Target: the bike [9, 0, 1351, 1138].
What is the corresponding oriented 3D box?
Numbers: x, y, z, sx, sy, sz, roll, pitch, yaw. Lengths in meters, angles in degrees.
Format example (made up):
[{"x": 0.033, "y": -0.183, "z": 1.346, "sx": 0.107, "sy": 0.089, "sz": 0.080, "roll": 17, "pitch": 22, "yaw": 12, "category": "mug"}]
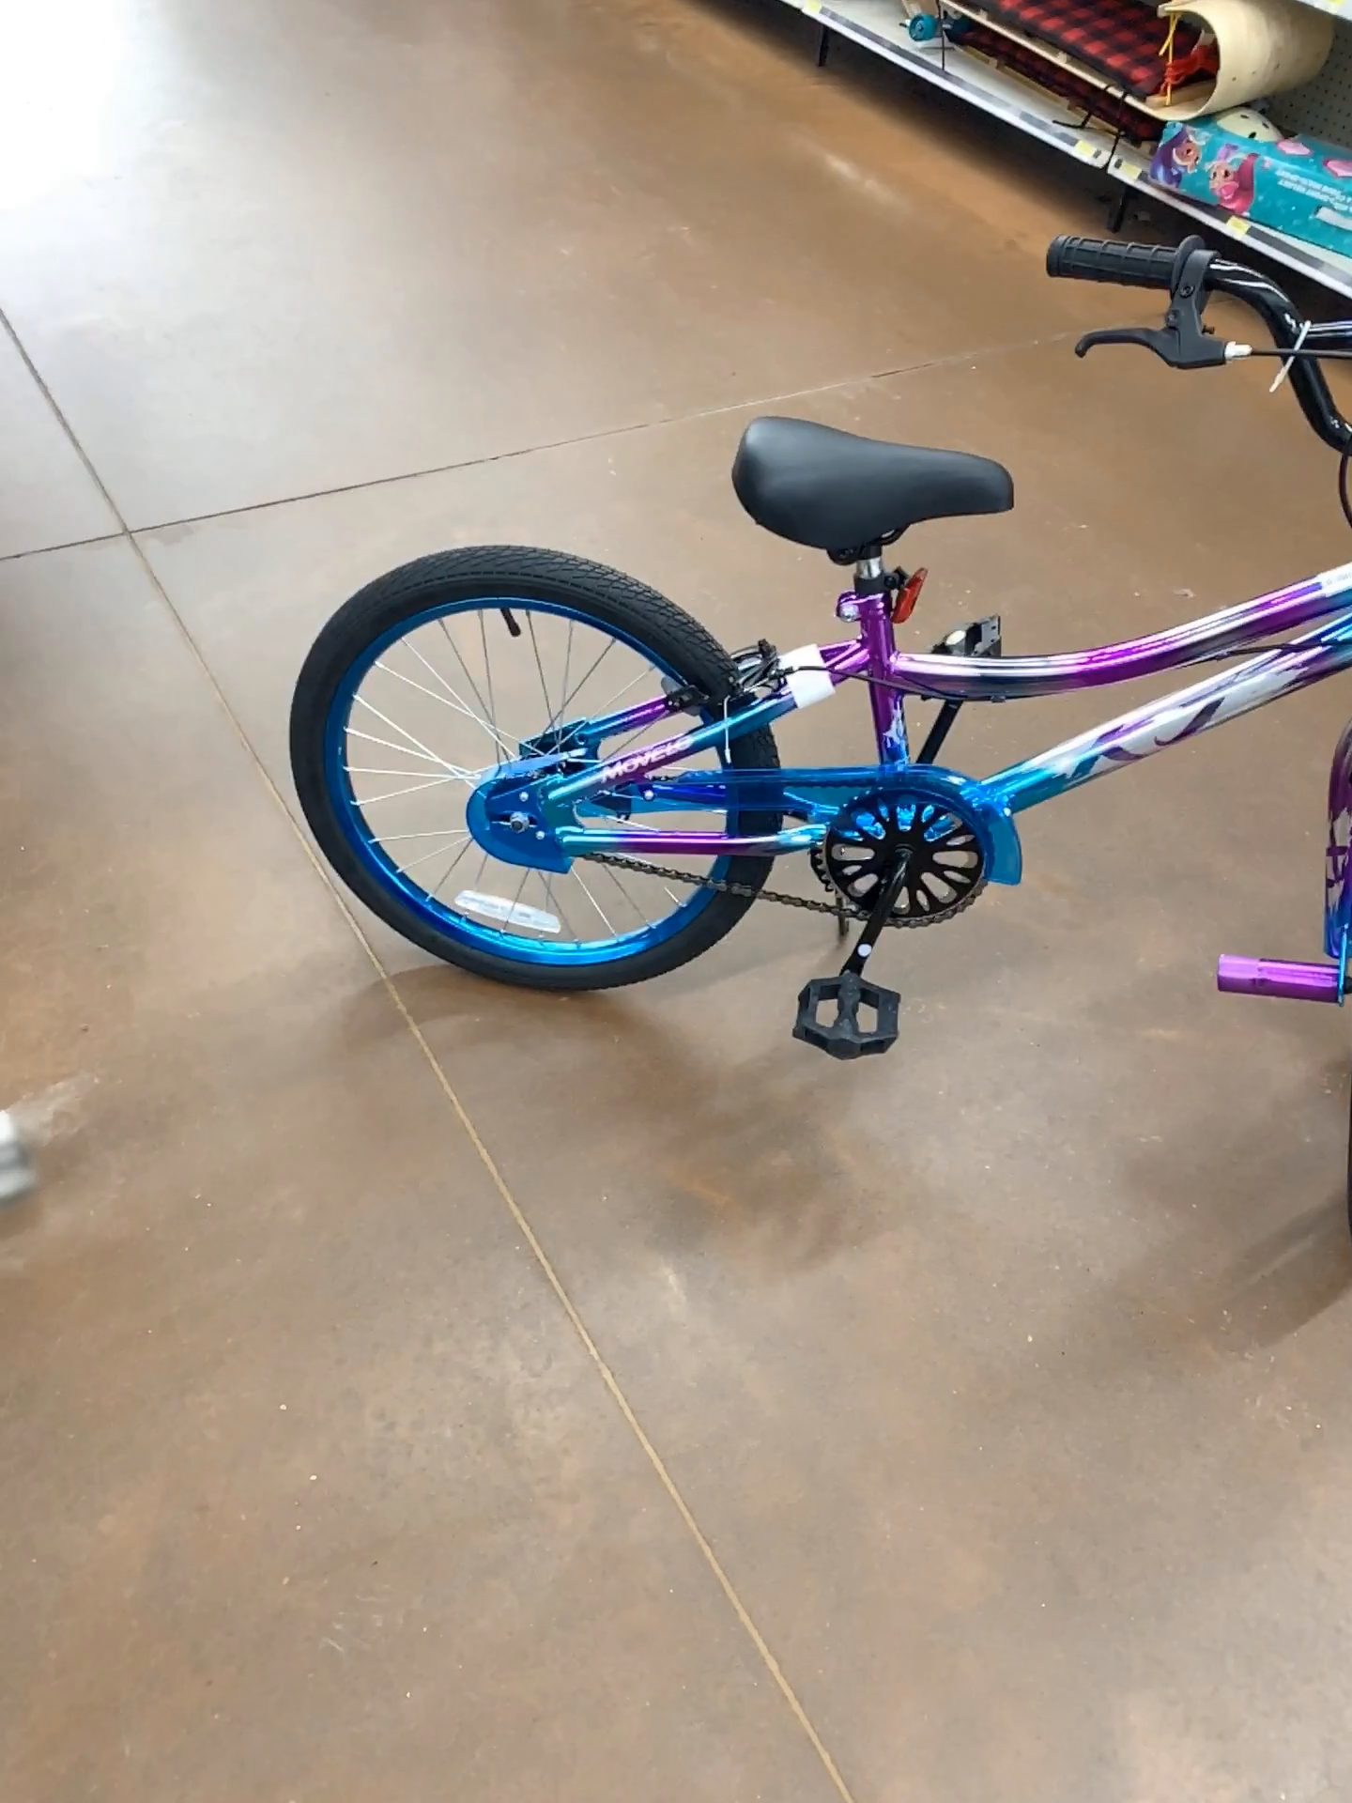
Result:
[{"x": 0.239, "y": -0.318, "z": 1.248, "sx": 1.119, "sy": 0.876, "sz": 0.623, "roll": 5, "pitch": 46, "yaw": -3, "category": "bike"}]
